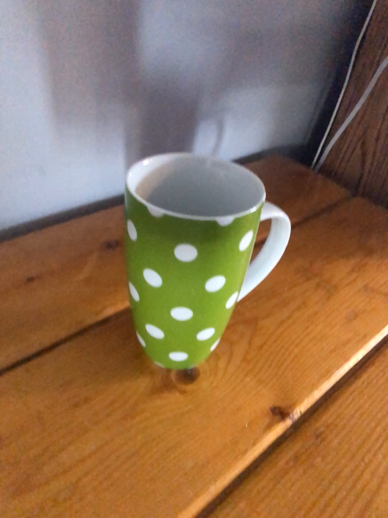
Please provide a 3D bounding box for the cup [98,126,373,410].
[{"bbox_3d":[0.019,0.000,0.325,0.150,0.150,0.100,-18,46,-31],"label":"cup"}]
